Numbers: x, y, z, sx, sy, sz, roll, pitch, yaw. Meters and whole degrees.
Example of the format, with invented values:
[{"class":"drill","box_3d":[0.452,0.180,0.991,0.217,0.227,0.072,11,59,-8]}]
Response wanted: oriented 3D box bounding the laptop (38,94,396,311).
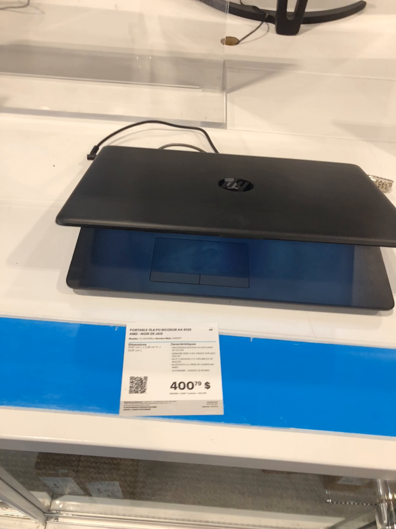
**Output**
[{"class":"laptop","box_3d":[0.041,-0.079,0.519,0.365,0.092,0.235,4,52,-4]}]
